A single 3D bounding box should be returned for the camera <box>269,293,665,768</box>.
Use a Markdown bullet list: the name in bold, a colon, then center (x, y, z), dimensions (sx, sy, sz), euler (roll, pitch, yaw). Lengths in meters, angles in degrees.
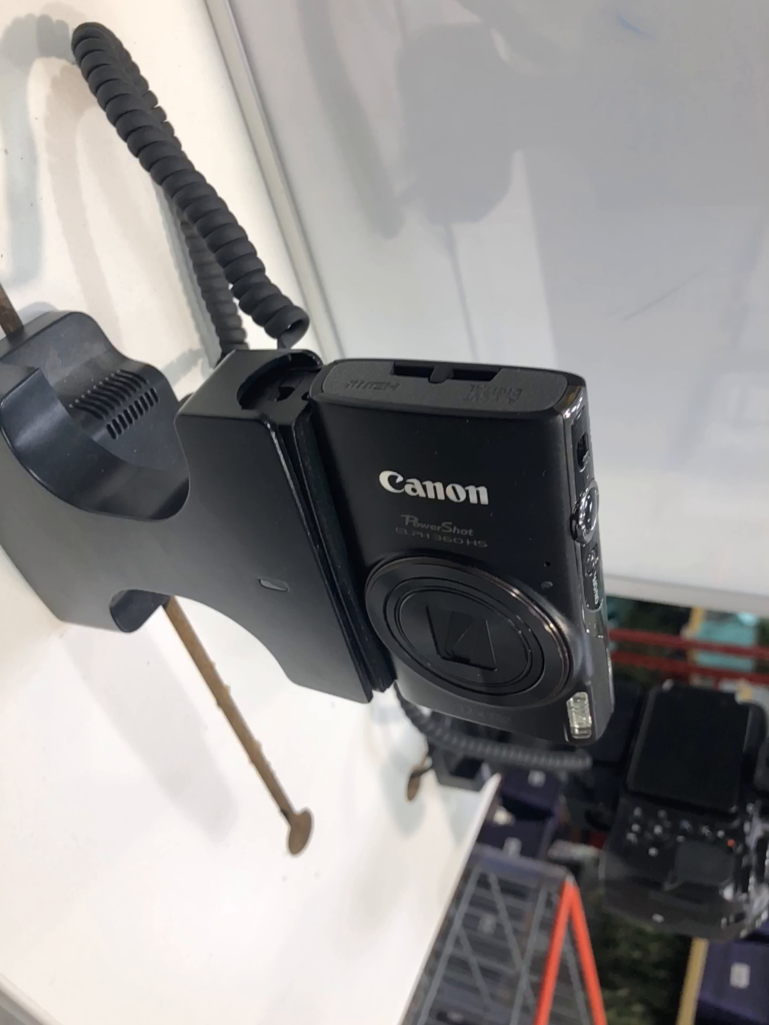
- **camera**: center (0.025, 0.007, 0.205), dimensions (0.030, 0.070, 0.110), euler (-55, 141, -42)
